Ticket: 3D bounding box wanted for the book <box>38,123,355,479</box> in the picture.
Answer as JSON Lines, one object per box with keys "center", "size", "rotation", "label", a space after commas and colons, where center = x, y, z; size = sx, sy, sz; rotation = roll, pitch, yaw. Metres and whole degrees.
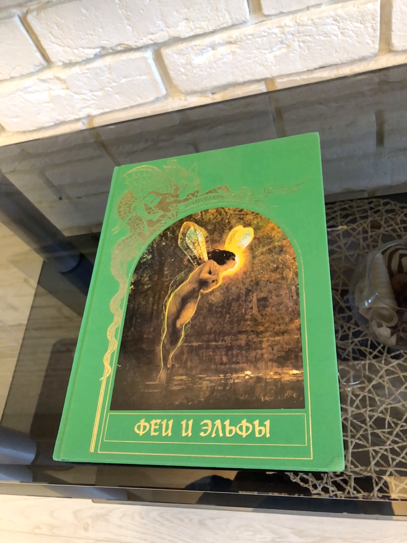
{"center": [0.000, 0.007, 0.377], "size": [0.217, 0.030, 0.291], "rotation": [-5, 58, 17], "label": "book"}
